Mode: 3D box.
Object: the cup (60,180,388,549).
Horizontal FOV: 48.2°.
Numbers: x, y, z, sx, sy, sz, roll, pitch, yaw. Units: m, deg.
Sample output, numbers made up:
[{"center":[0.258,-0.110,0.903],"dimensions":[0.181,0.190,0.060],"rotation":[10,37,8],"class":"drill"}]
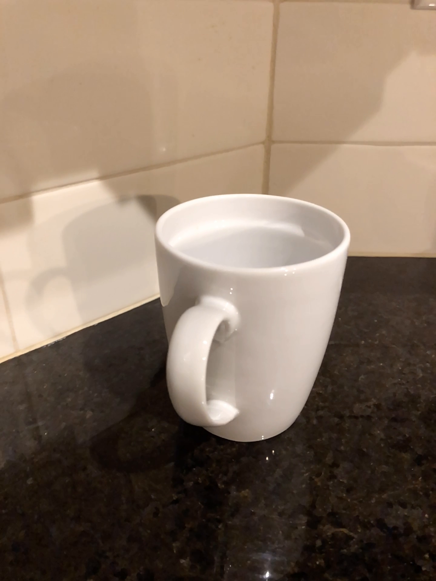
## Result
[{"center":[0.014,0.016,0.223],"dimensions":[0.090,0.090,0.131],"rotation":[13,31,21],"class":"cup"}]
